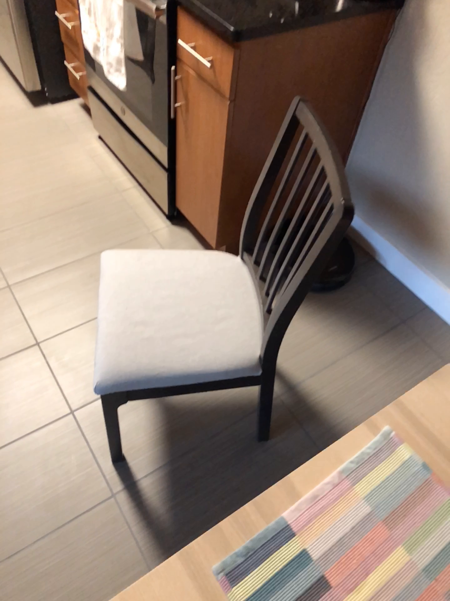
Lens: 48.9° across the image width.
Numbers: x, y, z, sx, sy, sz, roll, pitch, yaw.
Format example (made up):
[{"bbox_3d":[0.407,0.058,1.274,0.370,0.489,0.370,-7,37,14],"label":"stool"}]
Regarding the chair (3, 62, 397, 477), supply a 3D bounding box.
[{"bbox_3d":[-0.094,-0.028,1.246,0.590,0.846,0.582,-2,50,-9],"label":"chair"}]
